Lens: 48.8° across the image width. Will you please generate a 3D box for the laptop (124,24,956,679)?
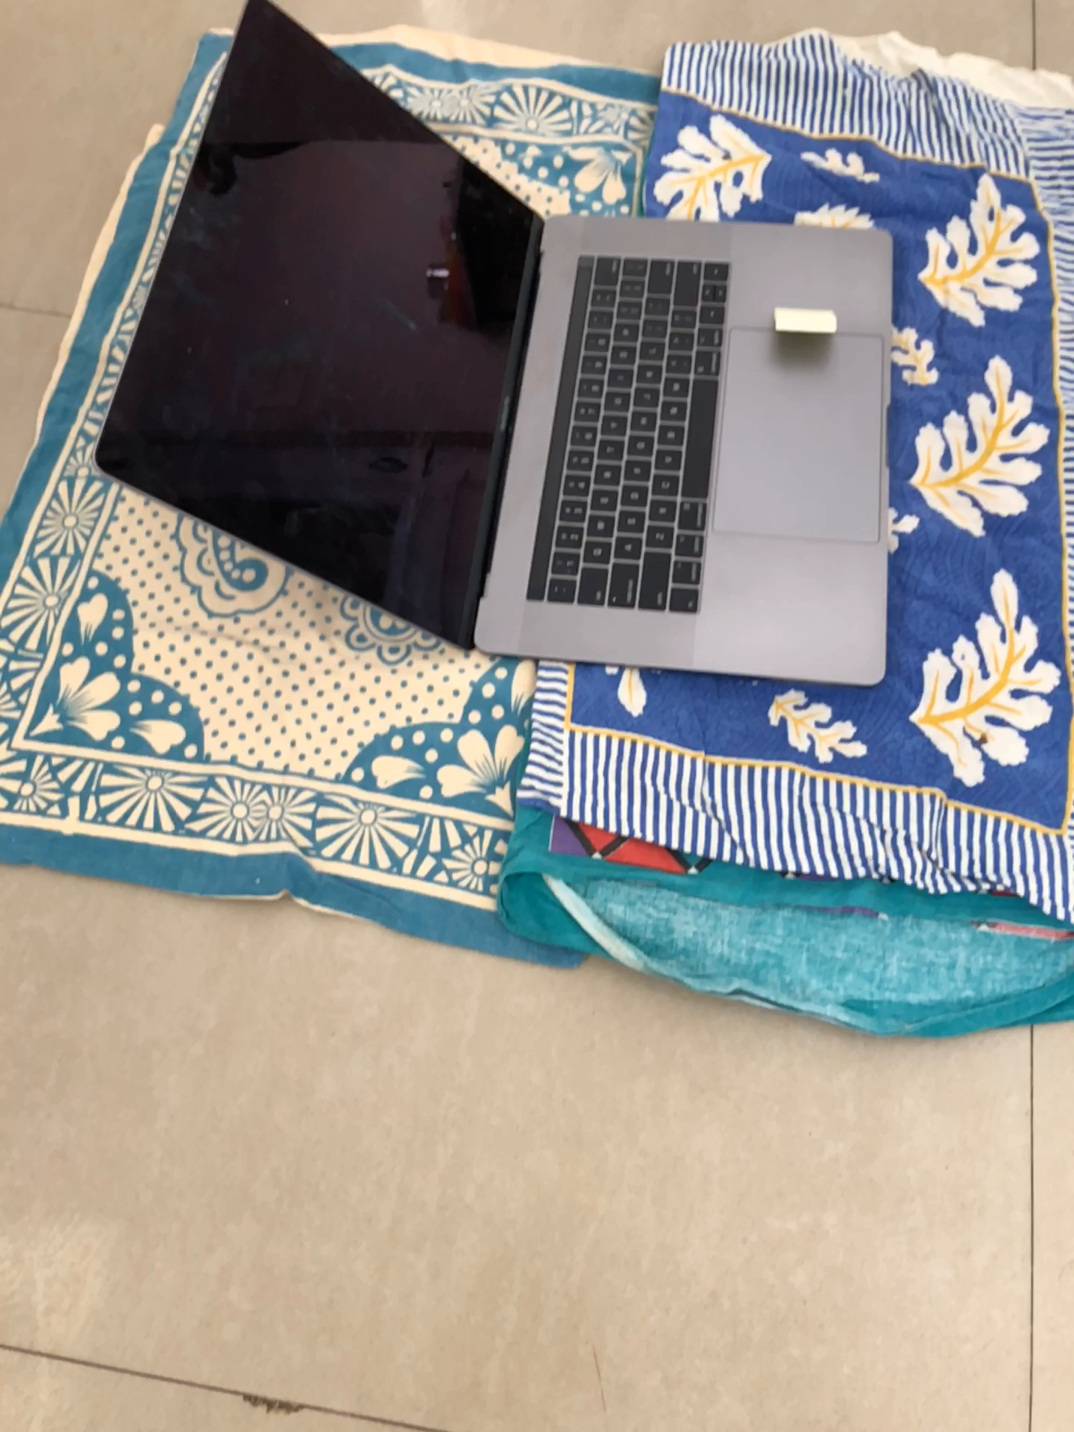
[{"bbox_3d":[0.017,-0.220,0.694,0.401,0.132,0.337,6,66,5],"label":"laptop"}]
